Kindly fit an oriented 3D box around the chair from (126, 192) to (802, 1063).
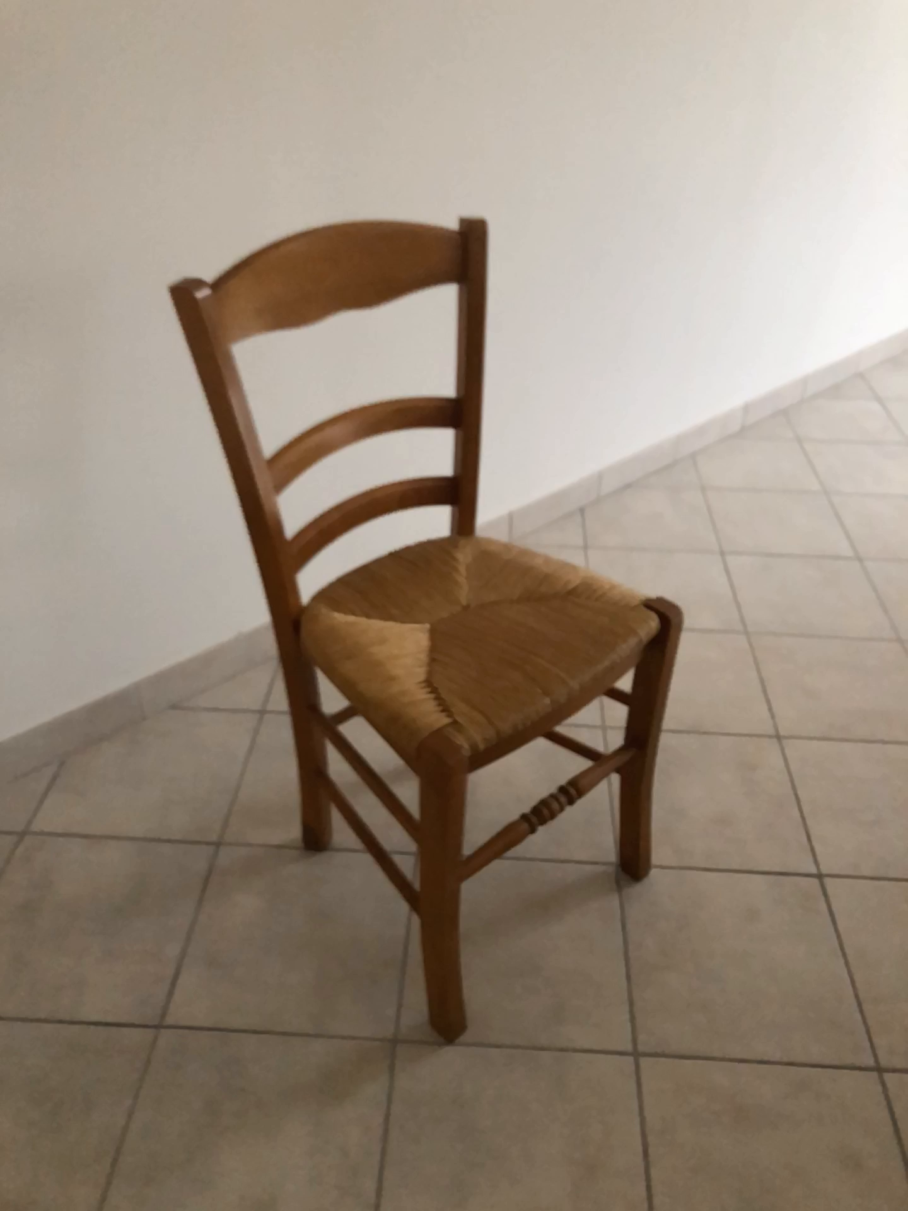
[{"bbox_3d":[-0.003,0.007,1.224,0.453,0.825,0.500,-28,44,-35],"label":"chair"}]
